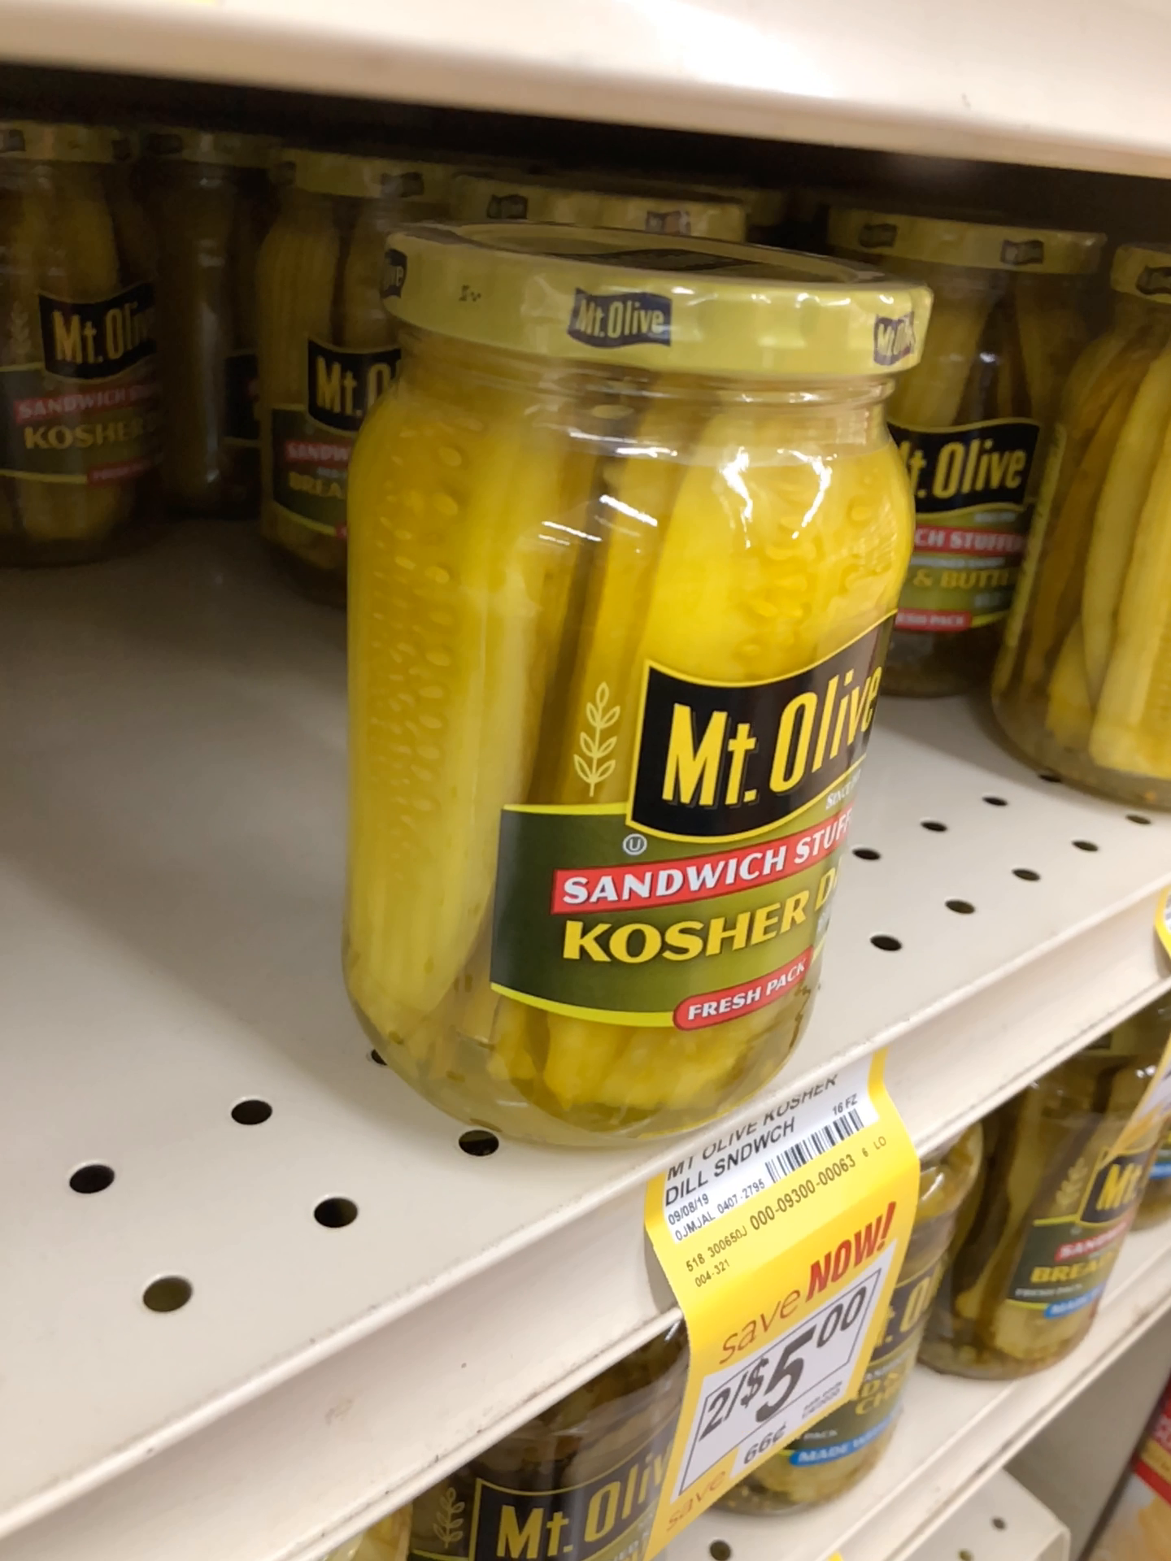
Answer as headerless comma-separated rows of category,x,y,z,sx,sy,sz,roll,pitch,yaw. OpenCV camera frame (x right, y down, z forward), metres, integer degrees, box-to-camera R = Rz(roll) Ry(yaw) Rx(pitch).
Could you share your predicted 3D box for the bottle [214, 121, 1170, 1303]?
bottle,0.005,-0.016,0.193,0.090,0.130,0.080,-14,35,-36
